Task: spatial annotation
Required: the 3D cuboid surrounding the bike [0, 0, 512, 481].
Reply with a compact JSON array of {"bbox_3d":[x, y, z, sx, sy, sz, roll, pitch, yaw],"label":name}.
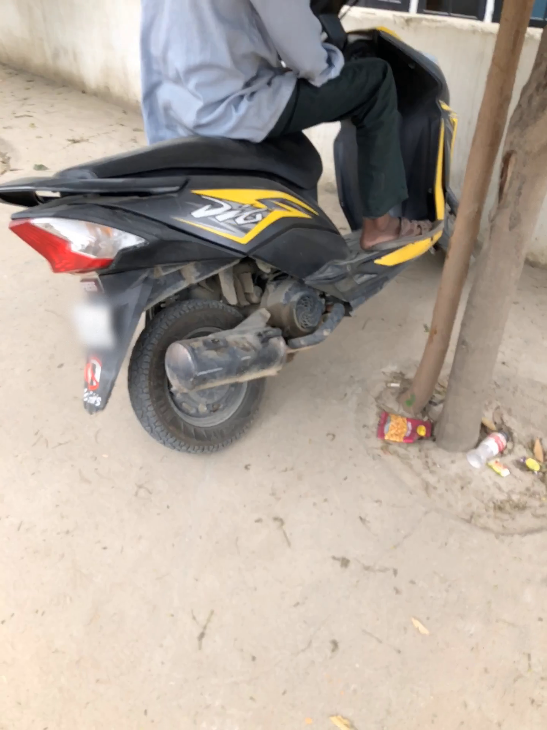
[{"bbox_3d":[-0.009,-0.692,1.827,0.634,1.144,1.580,25,44,30],"label":"bike"}]
